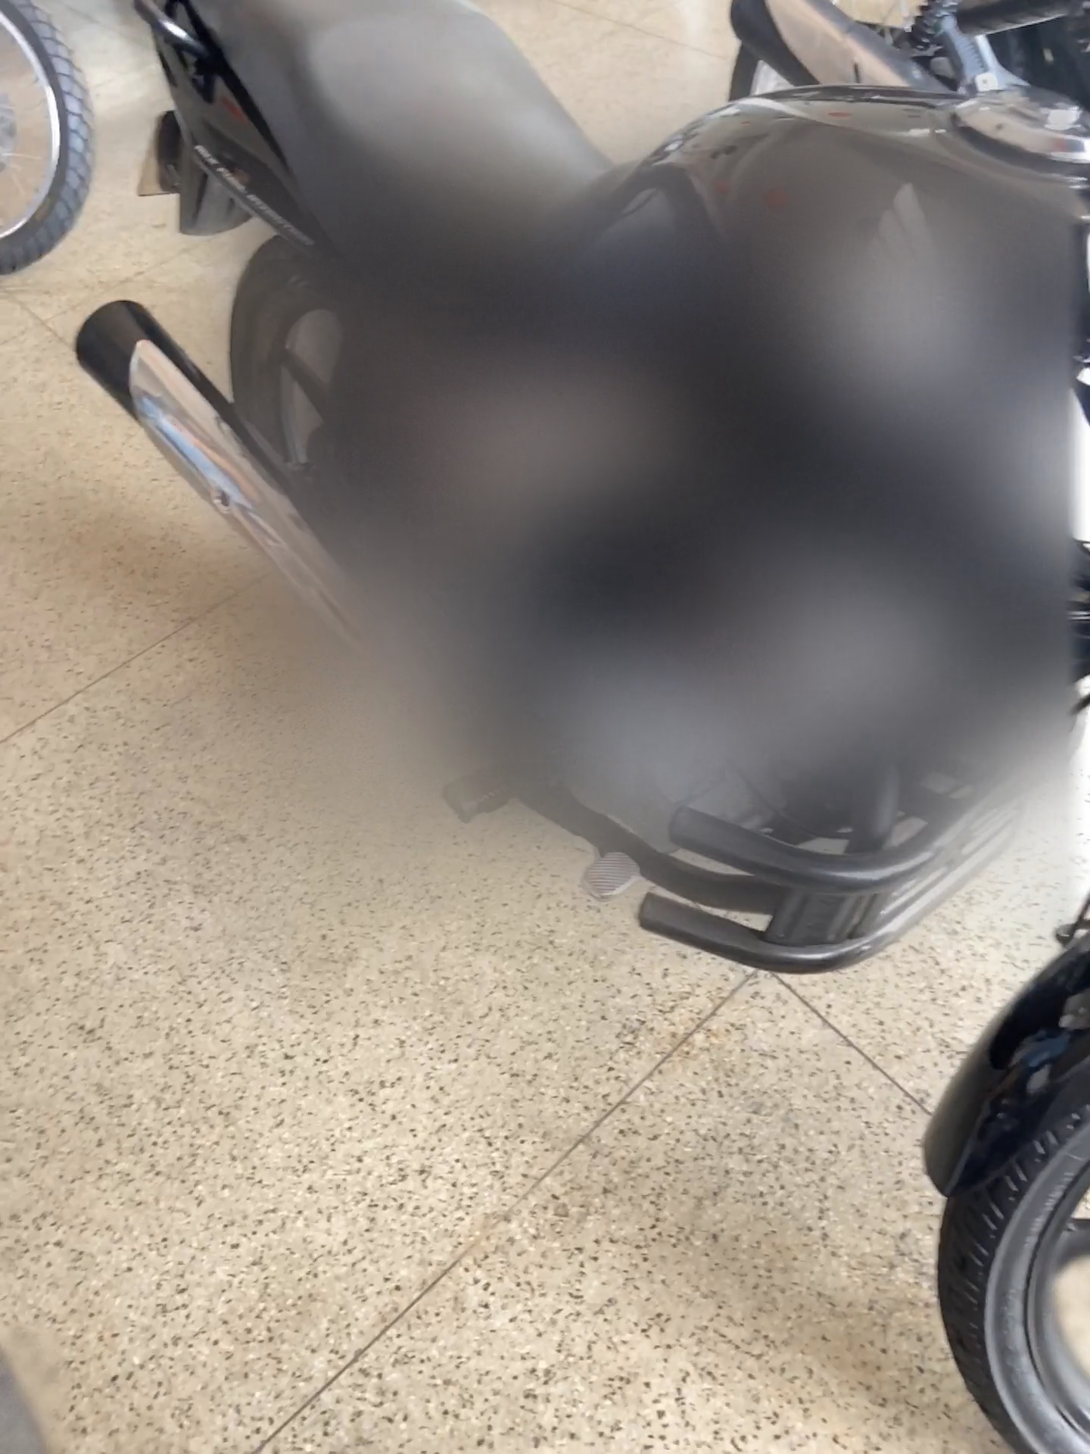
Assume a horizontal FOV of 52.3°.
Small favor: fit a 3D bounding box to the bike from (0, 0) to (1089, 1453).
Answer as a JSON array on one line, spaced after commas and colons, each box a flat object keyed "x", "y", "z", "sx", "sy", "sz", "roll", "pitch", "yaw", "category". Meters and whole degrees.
[{"x": 0.265, "y": -0.272, "z": 1.010, "sx": 1.739, "sy": 1.138, "sz": 0.775, "roll": 35, "pitch": 65, "yaw": 28, "category": "bike"}]
